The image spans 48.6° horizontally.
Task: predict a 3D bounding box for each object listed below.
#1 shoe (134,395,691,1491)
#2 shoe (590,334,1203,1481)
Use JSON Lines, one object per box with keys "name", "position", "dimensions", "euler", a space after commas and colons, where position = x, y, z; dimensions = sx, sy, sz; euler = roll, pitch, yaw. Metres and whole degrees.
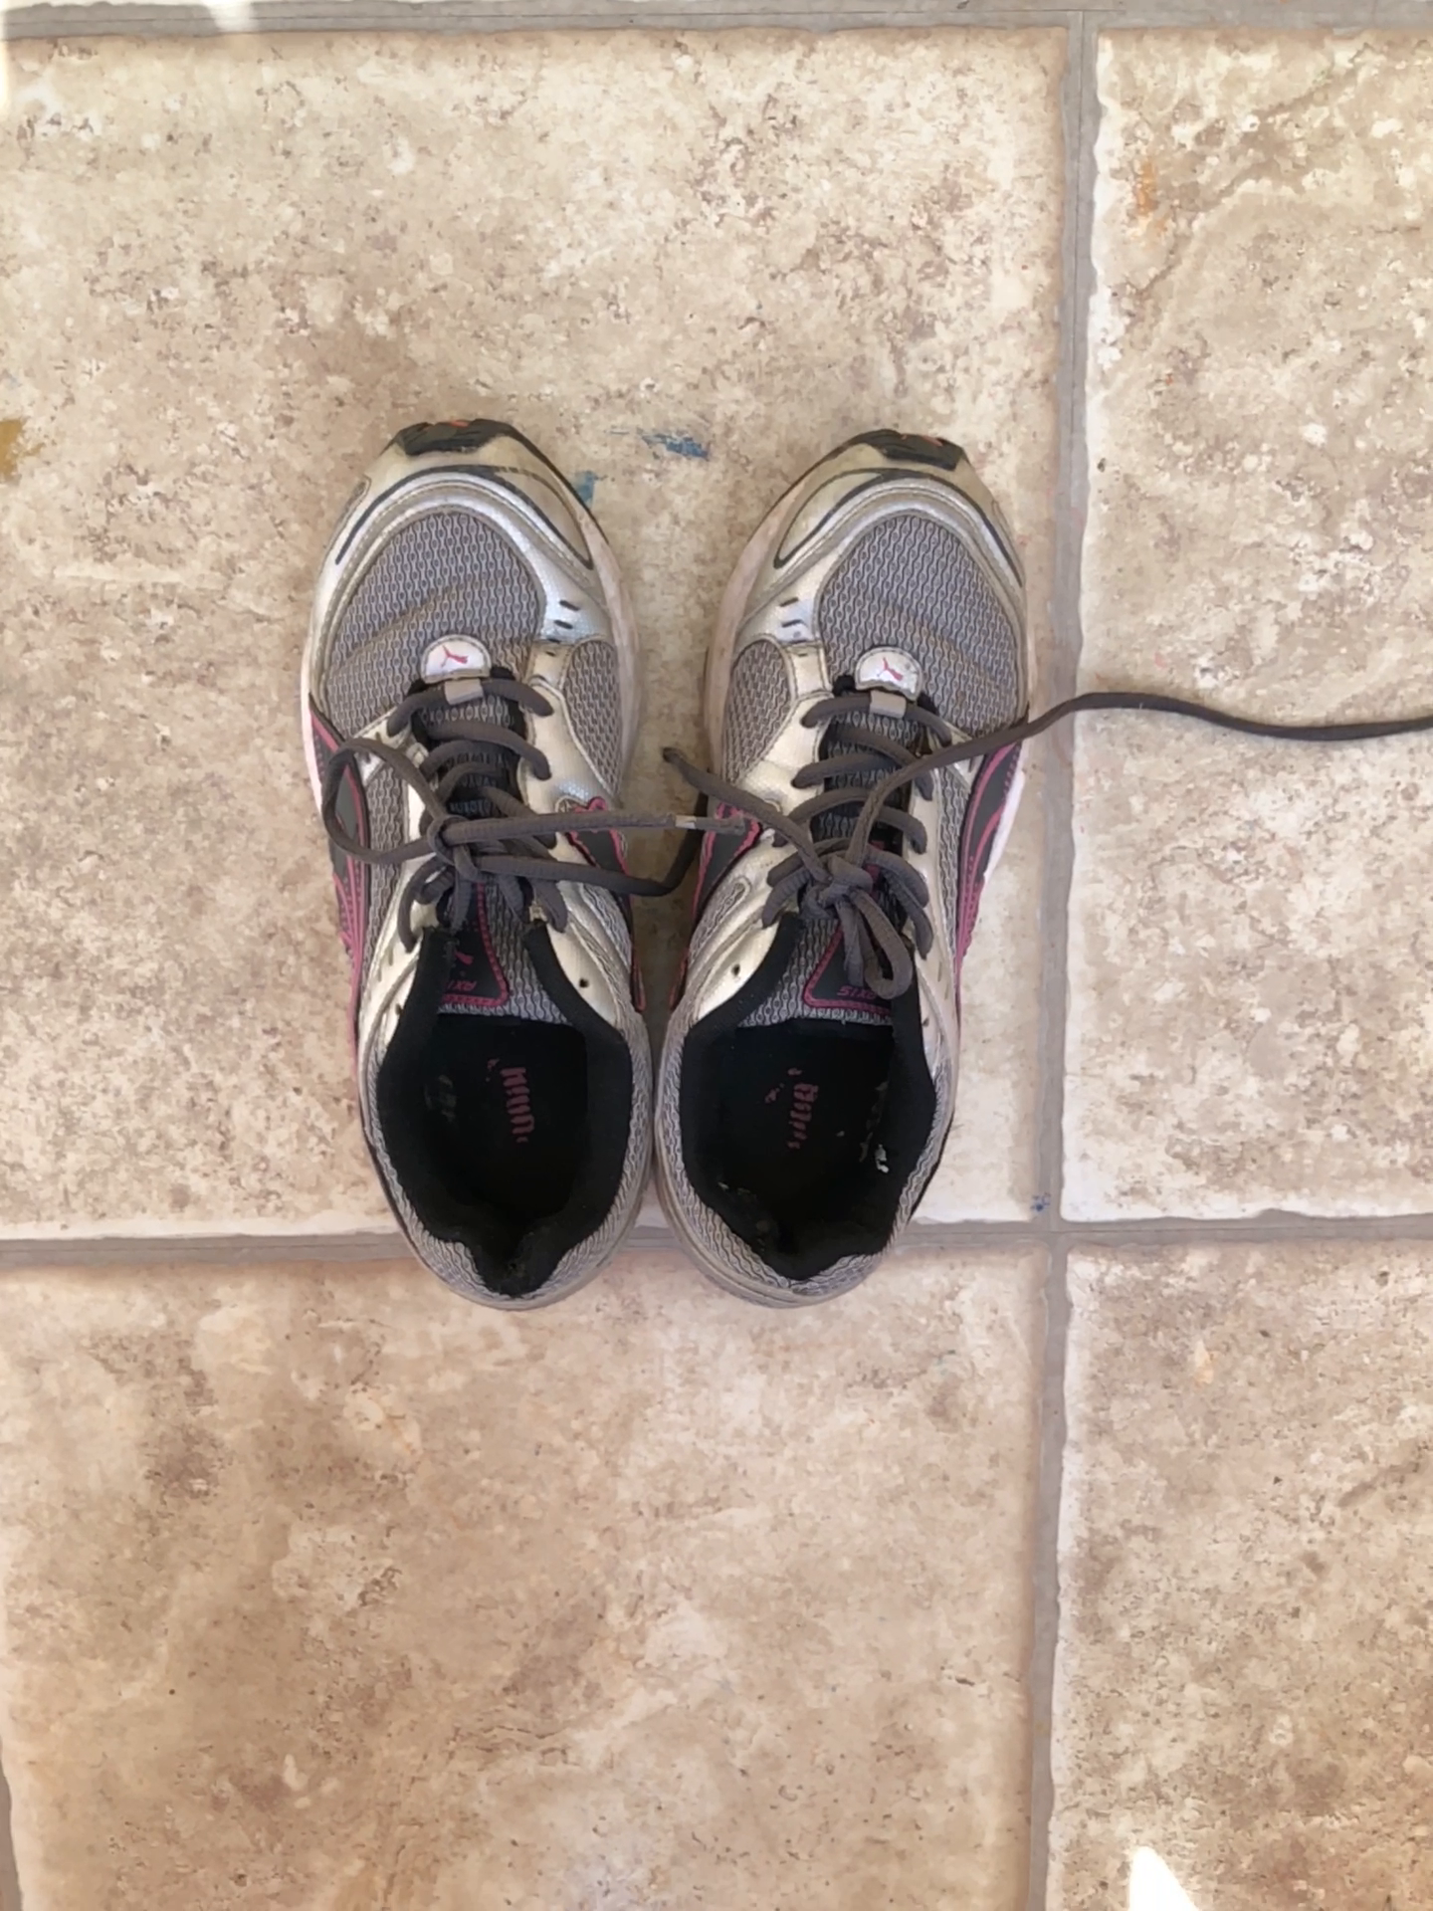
{"name": "shoe", "position": [-0.073, -0.007, 0.464], "dimensions": [0.110, 0.140, 0.270], "euler": [-4, 101, 0]}
{"name": "shoe", "position": [0.039, -0.015, 0.455], "dimensions": [0.110, 0.140, 0.270], "euler": [7, 100, -2]}
